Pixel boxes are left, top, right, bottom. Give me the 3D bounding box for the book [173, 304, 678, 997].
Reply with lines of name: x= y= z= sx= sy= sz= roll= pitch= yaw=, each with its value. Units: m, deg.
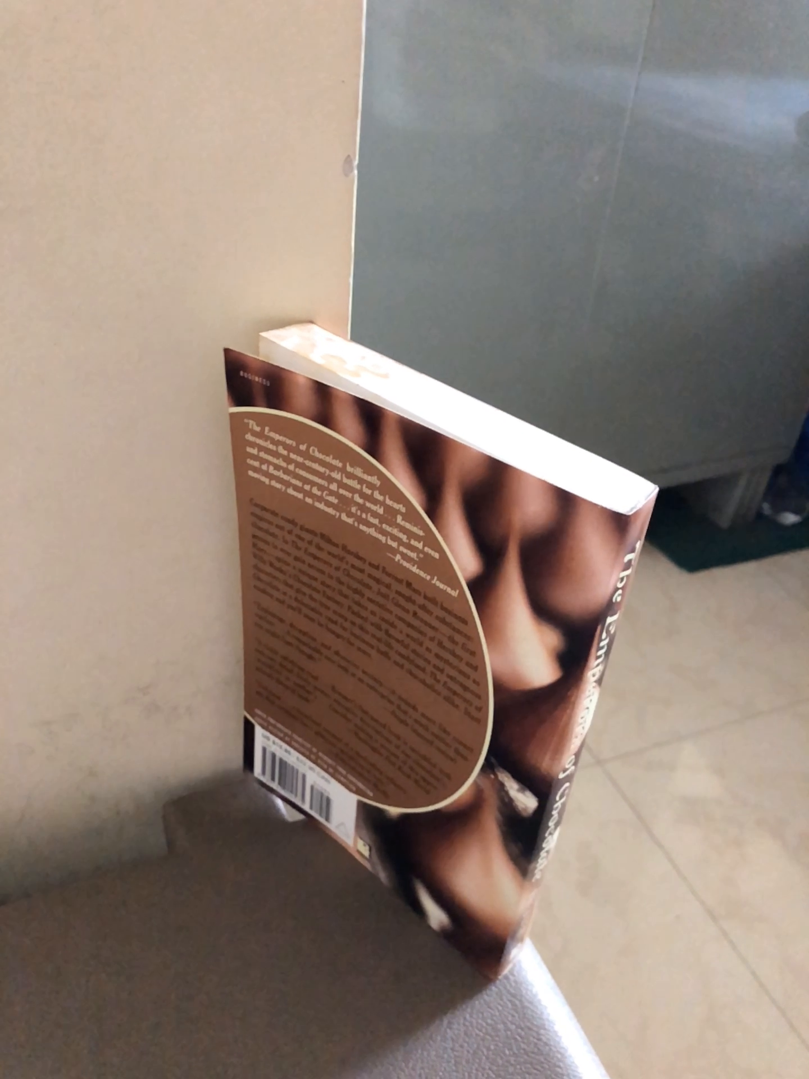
book: x=-0.009 y=0.041 z=0.320 sx=0.160 sy=0.199 sz=0.040 roll=29 pitch=42 yaw=31
